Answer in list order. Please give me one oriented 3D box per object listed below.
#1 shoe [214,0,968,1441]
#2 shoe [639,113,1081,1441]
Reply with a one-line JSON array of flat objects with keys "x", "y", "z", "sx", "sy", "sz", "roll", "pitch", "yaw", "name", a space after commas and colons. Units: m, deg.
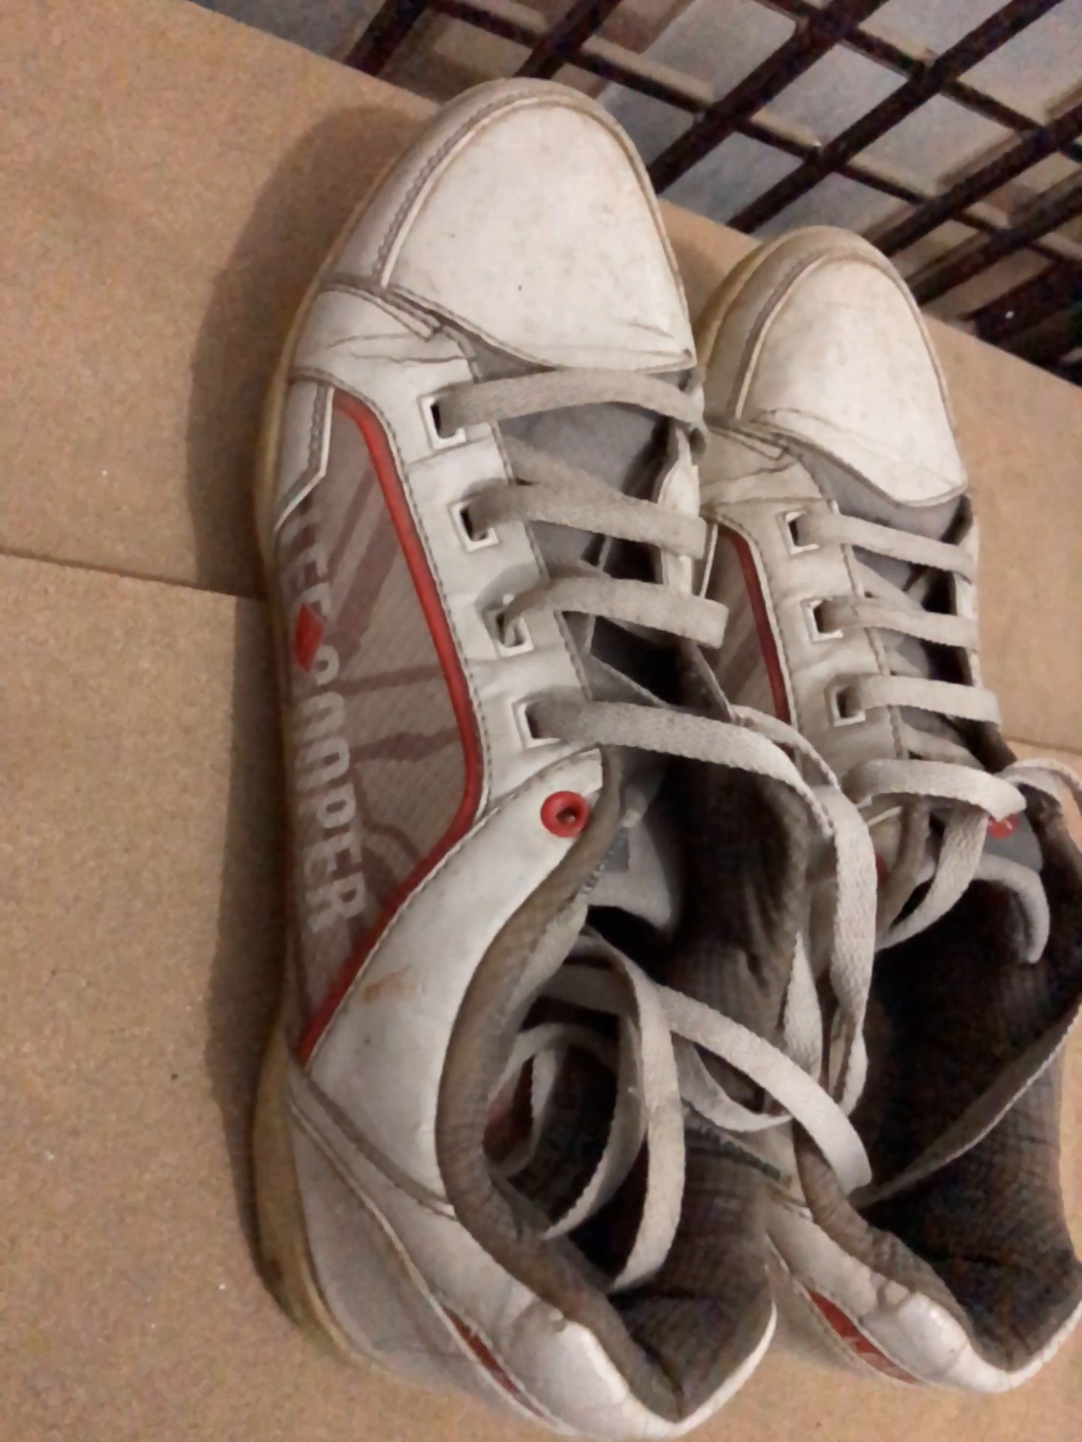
[{"x": 0.005, "y": -0.011, "z": 0.238, "sx": 0.100, "sy": 0.080, "sz": 0.270, "roll": 9, "pitch": 73, "yaw": -34, "name": "shoe"}, {"x": 0.094, "y": 0.009, "z": 0.297, "sx": 0.100, "sy": 0.080, "sz": 0.270, "roll": 9, "pitch": 73, "yaw": -34, "name": "shoe"}]
